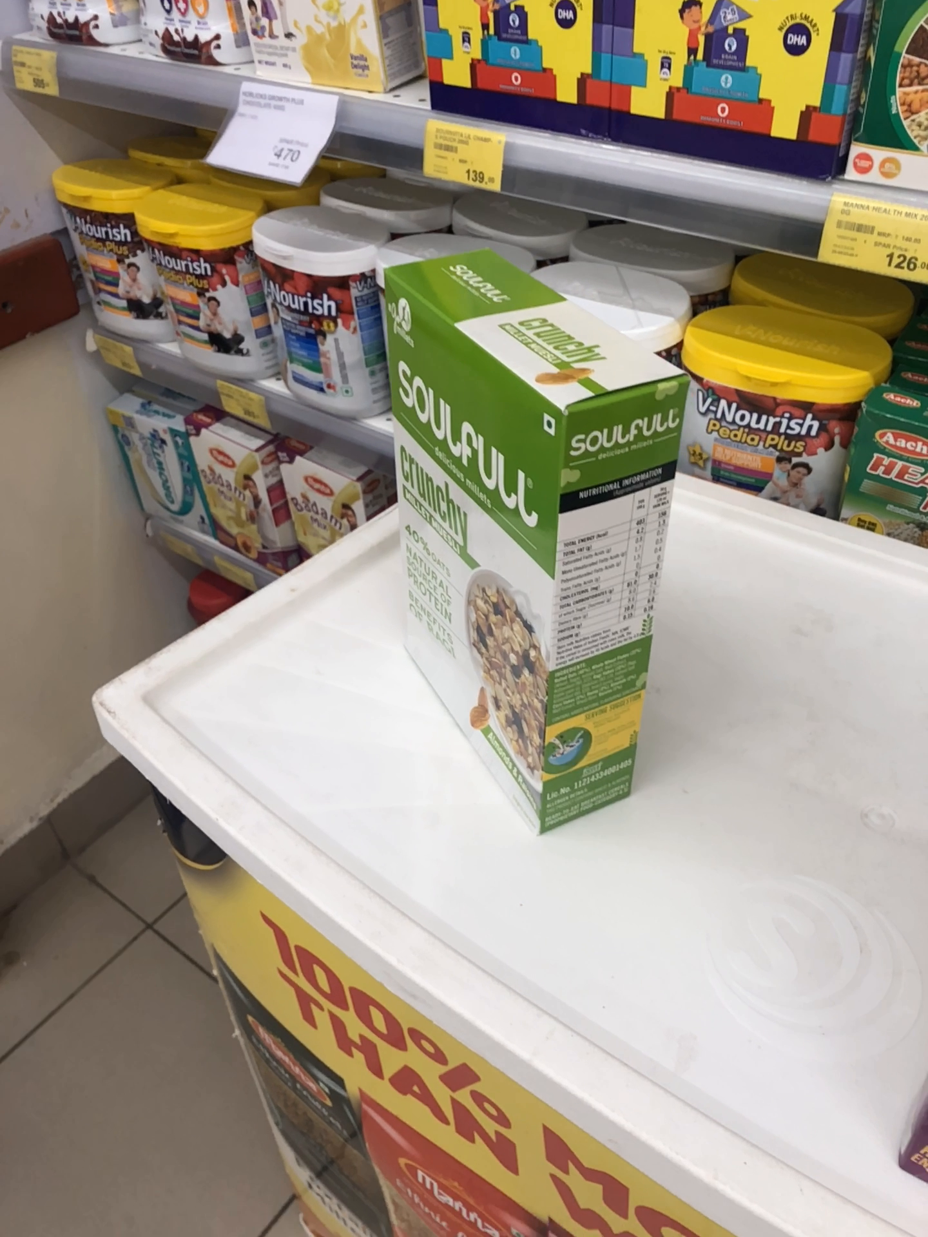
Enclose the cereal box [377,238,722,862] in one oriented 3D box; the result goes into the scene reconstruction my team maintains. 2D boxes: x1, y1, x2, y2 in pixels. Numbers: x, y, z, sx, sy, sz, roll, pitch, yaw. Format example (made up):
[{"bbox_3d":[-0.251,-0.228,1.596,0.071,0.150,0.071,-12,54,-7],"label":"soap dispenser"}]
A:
[{"bbox_3d":[0.036,-0.034,0.518,0.070,0.249,0.181,-19,41,-16],"label":"cereal box"}]
